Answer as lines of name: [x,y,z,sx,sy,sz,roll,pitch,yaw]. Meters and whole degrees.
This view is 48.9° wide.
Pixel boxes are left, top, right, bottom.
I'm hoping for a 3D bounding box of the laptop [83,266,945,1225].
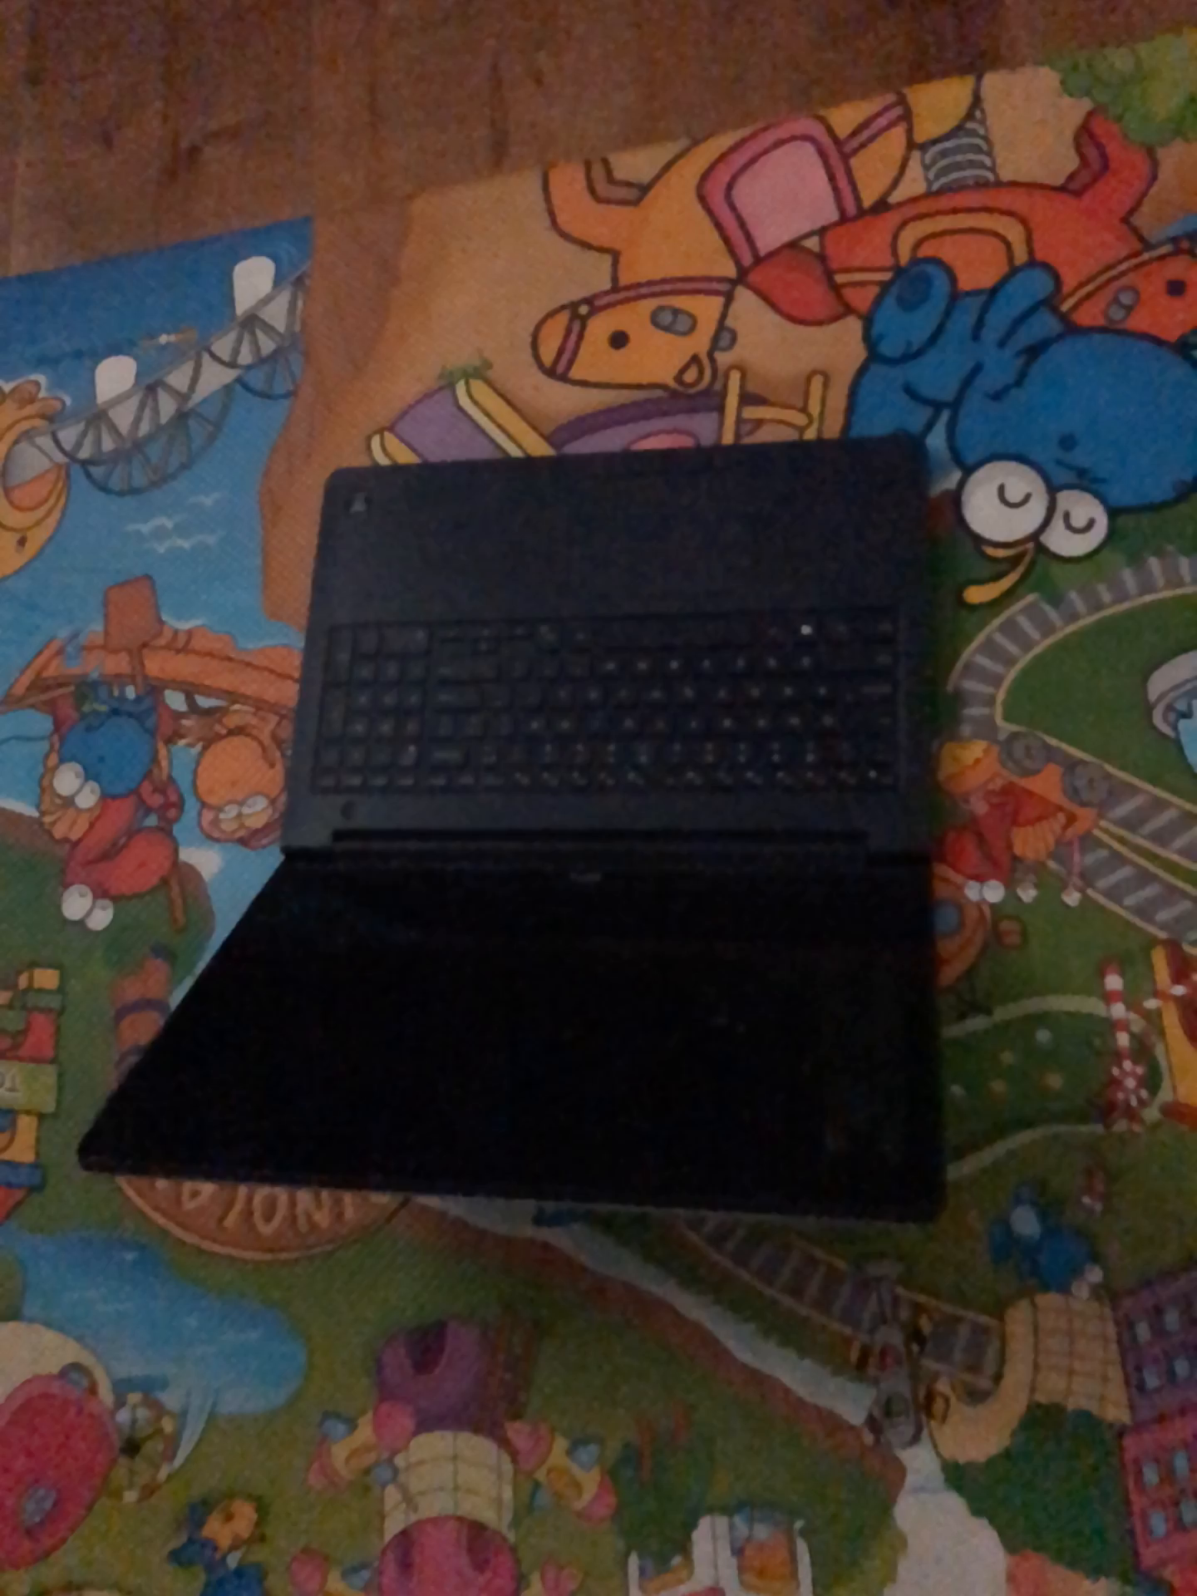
laptop: [-0.019,-0.023,0.668,0.361,0.159,0.429,-1,73,12]
